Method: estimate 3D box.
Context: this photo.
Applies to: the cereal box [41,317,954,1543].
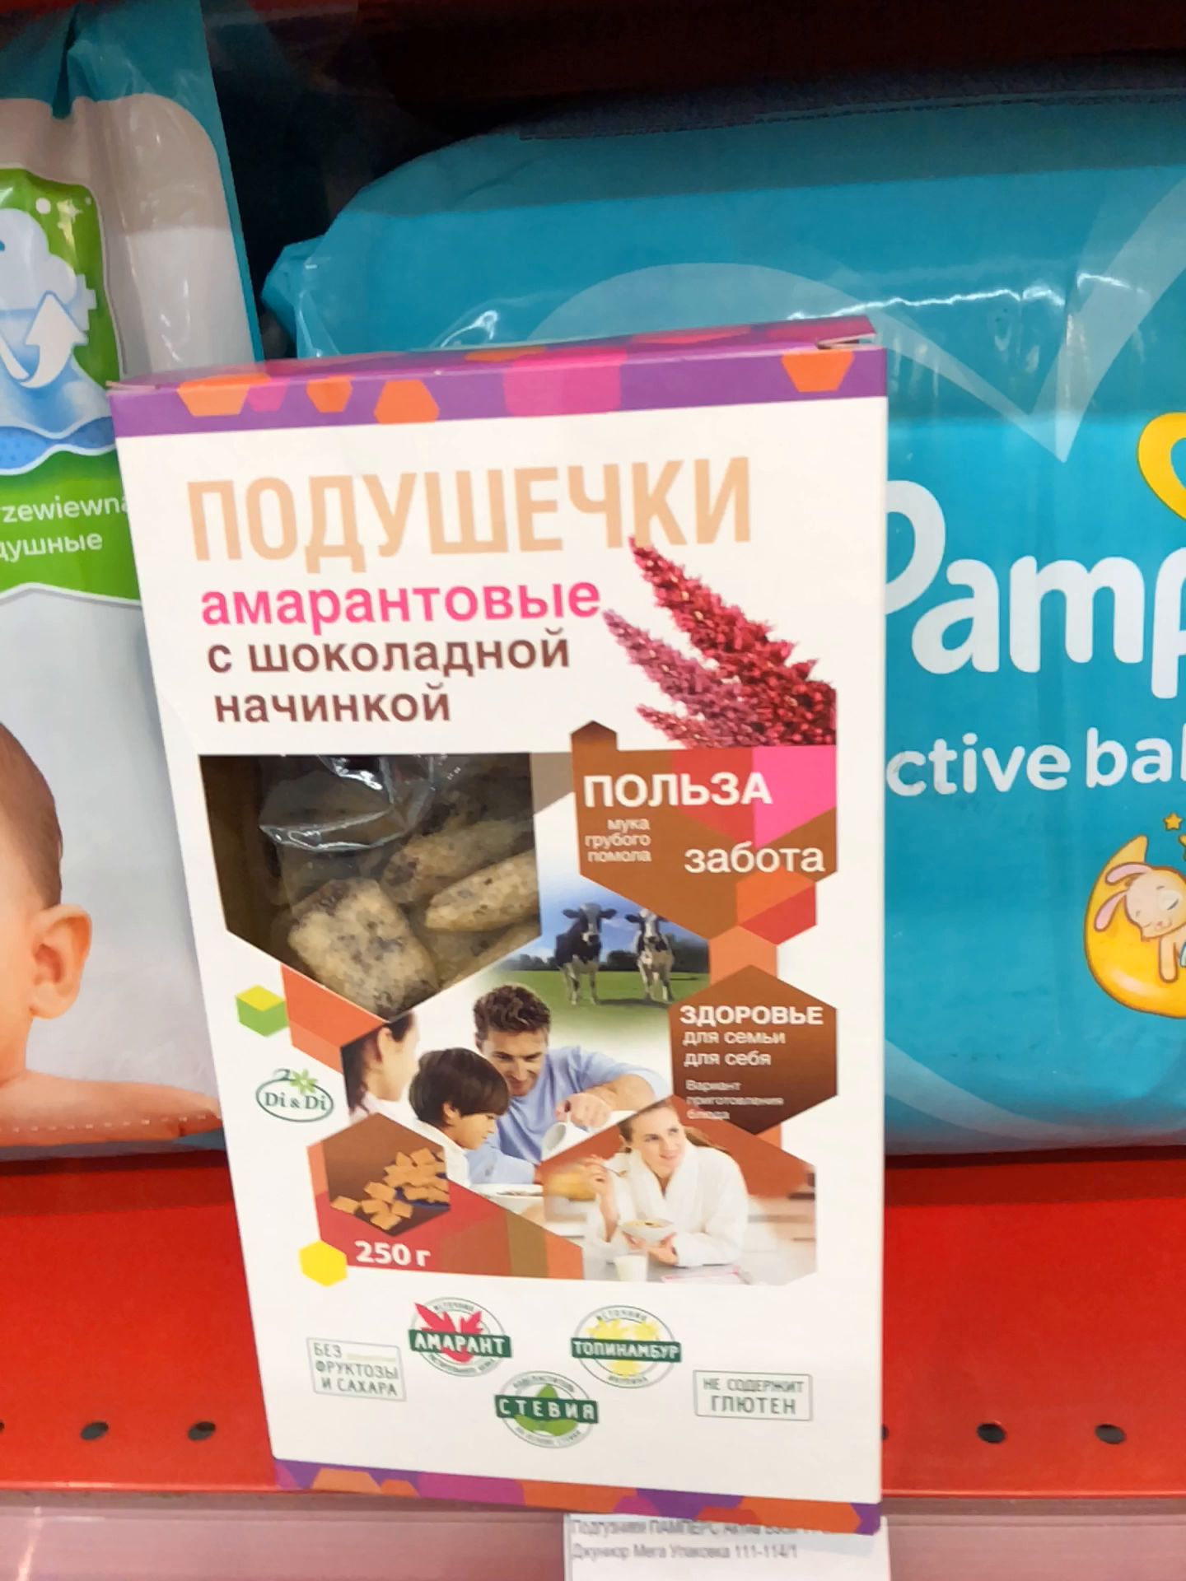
[{"bbox_3d":[-0.006,0.027,0.261,0.140,0.219,0.070,0,17,10],"label":"cereal box"}]
